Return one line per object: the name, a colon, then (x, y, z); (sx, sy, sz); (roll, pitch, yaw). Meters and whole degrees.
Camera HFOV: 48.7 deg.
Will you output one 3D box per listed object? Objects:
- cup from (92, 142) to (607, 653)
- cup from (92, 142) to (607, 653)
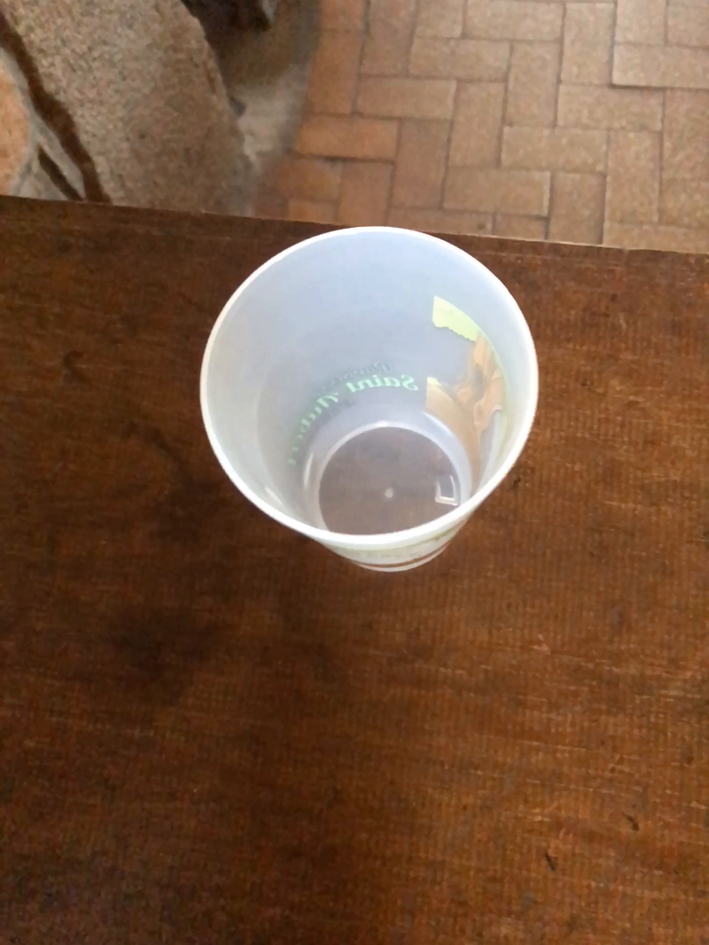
cup: (0.002, -0.008, 0.227); (0.080, 0.120, 0.080); (-1, 74, 5)
cup: (0.002, -0.008, 0.227); (0.080, 0.120, 0.080); (-1, 74, 5)
